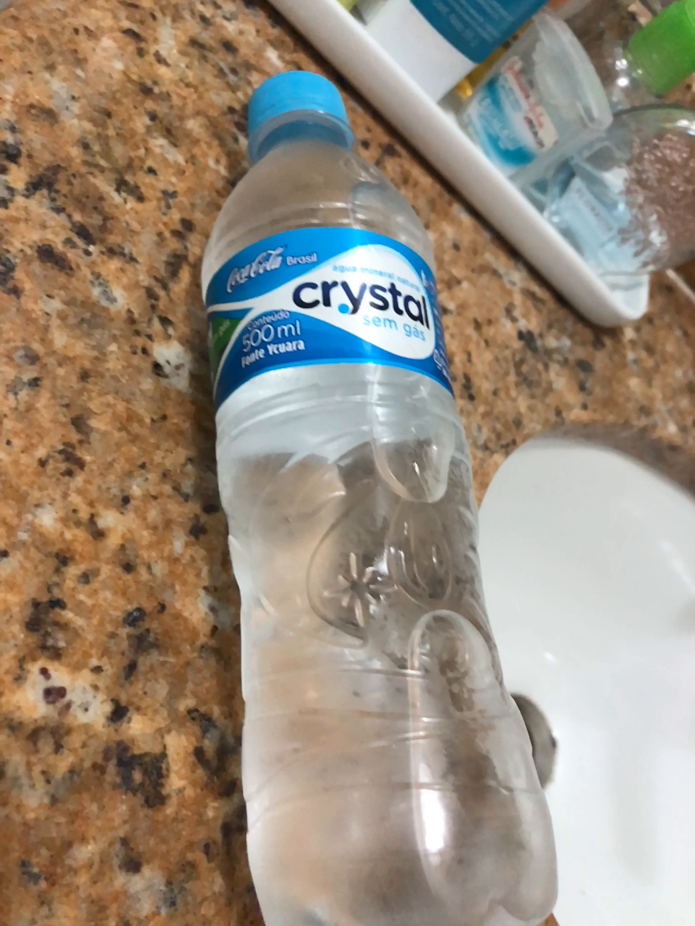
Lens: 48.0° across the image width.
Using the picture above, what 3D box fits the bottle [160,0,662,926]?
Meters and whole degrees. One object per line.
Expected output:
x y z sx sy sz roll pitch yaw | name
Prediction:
0.003 -0.013 0.191 0.070 0.050 0.230 10 62 -39 | bottle
